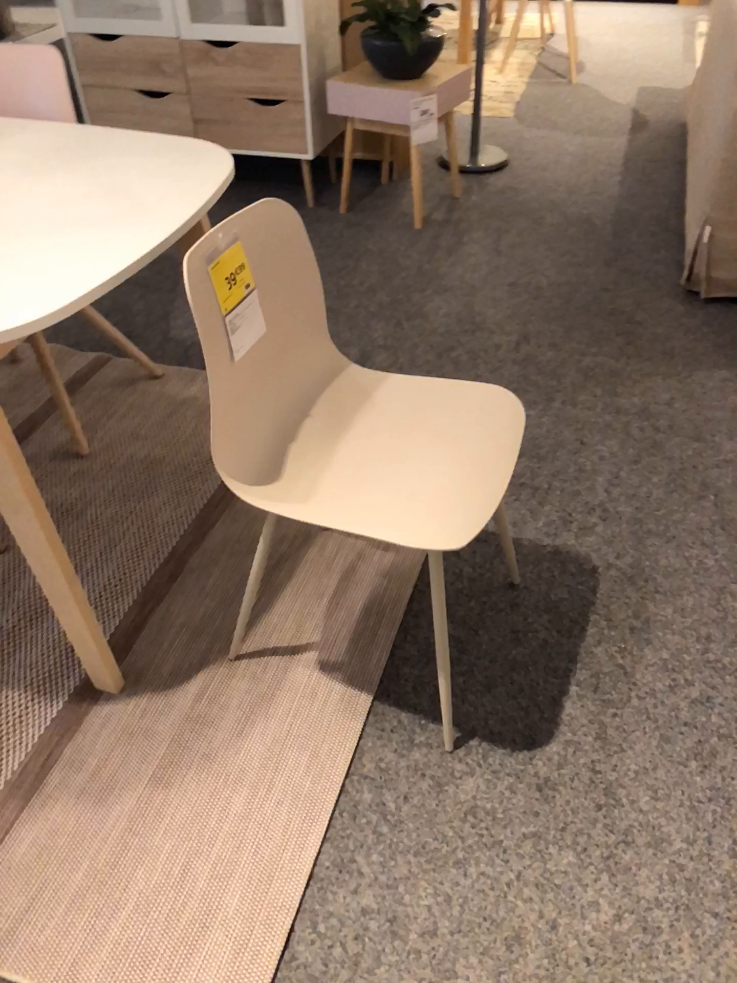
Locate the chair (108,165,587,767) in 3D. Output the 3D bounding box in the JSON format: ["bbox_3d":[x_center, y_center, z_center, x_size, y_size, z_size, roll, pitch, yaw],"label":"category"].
[{"bbox_3d":[0.013,-0.043,1.336,0.500,0.765,0.504,12,42,16],"label":"chair"}]
